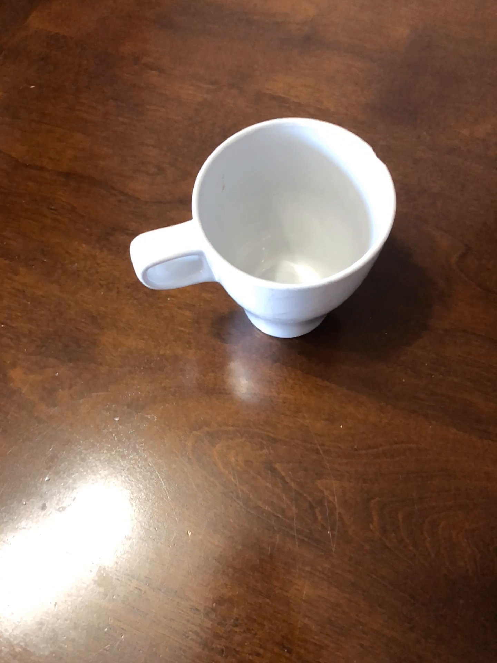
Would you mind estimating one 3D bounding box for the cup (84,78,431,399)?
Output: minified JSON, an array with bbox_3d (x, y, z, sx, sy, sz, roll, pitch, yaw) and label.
[{"bbox_3d":[0.003,-0.038,0.272,0.120,0.100,0.080,-21,68,-6],"label":"cup"}]
